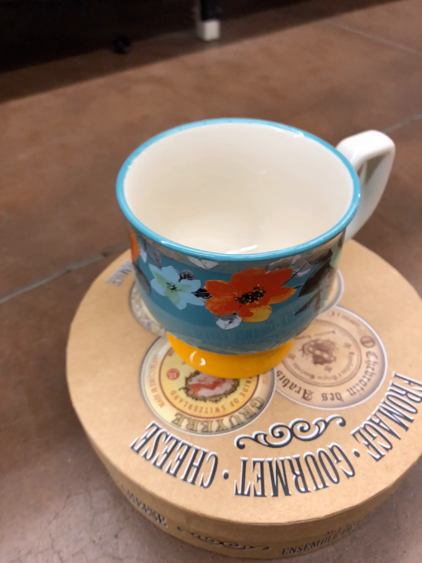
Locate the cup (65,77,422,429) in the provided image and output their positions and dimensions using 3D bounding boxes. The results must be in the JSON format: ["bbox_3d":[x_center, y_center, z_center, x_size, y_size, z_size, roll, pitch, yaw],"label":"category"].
[{"bbox_3d":[0.025,-0.022,0.220,0.140,0.080,0.090,-24,49,-22],"label":"cup"}]
